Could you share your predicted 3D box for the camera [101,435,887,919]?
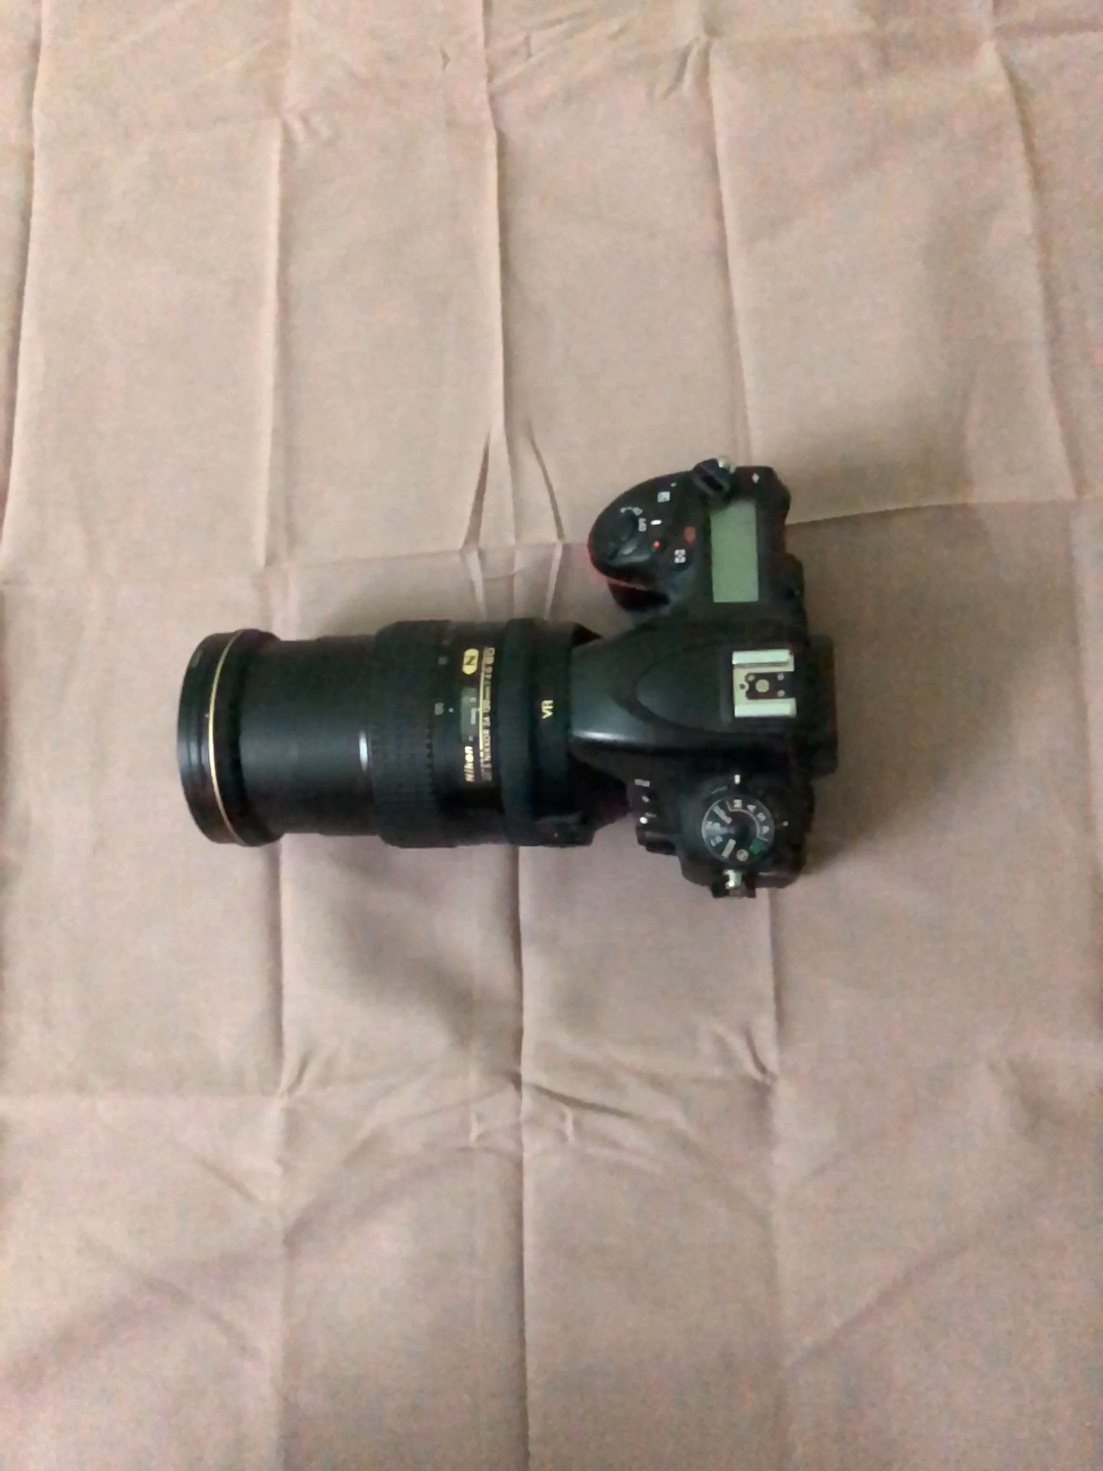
[{"bbox_3d":[-0.015,-0.010,0.421,0.232,0.110,0.139,-1,79,7],"label":"camera"}]
